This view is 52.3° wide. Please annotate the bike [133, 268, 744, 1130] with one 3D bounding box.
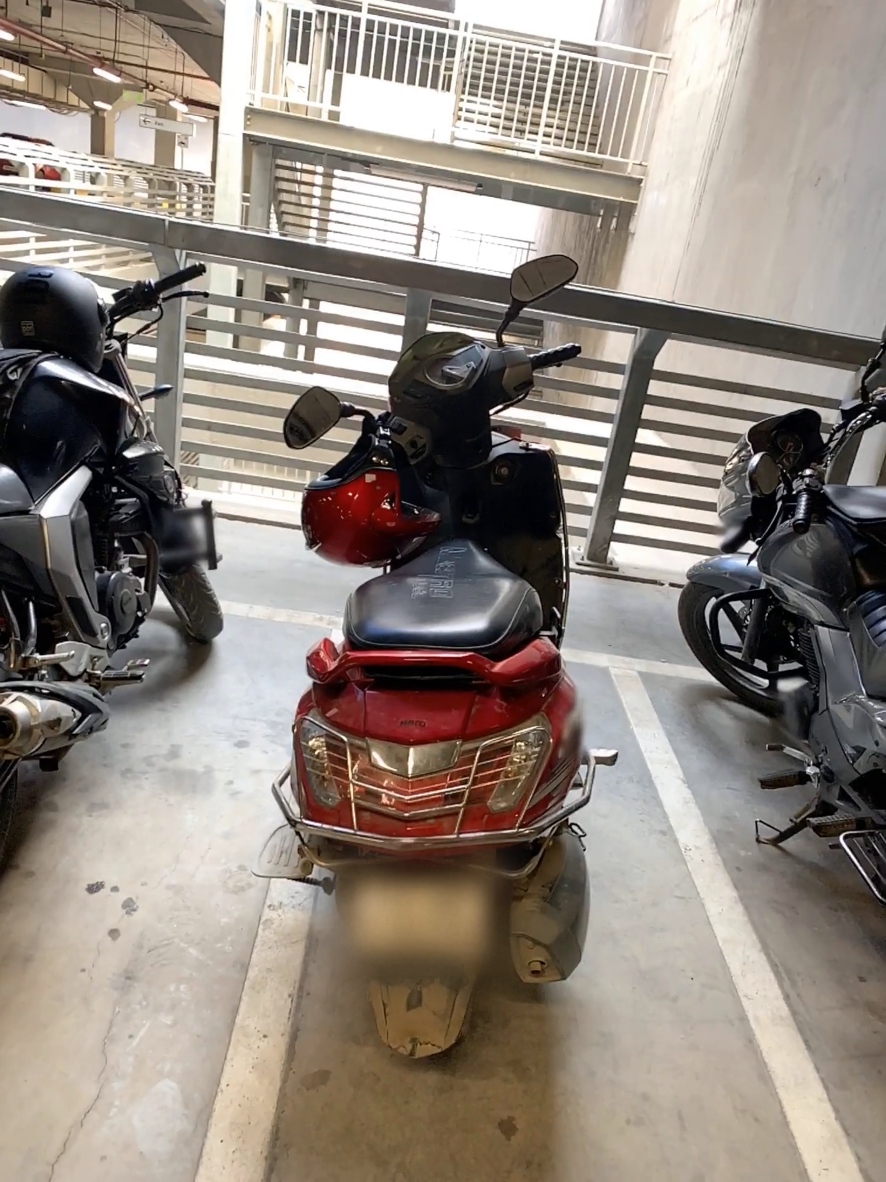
[{"bbox_3d":[-0.092,-0.029,2.179,0.724,1.165,1.858,8,23,-5],"label":"bike"}]
